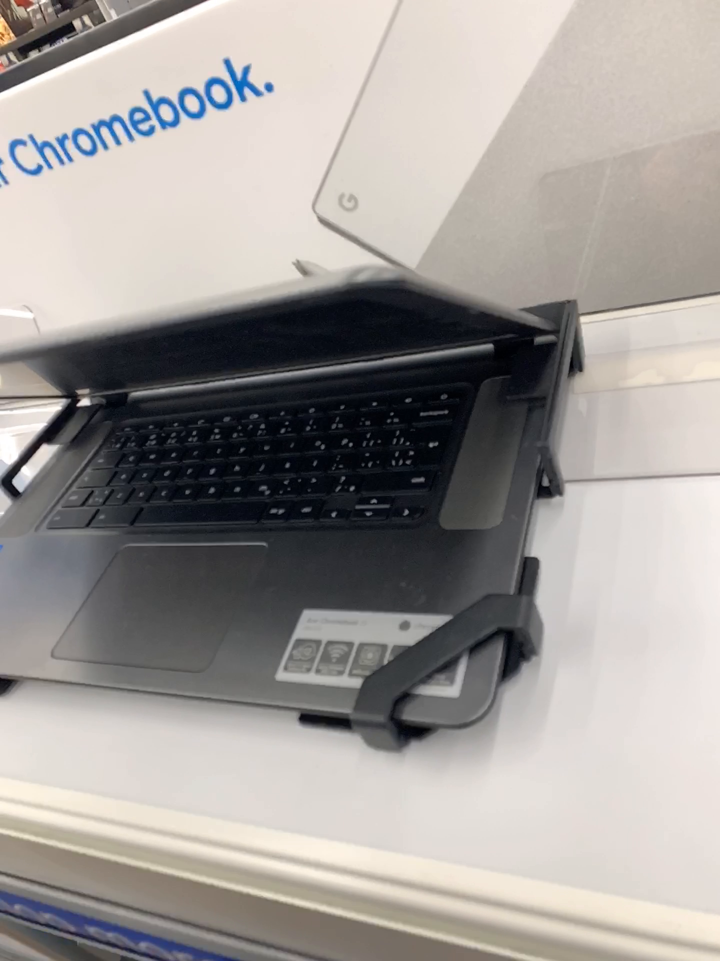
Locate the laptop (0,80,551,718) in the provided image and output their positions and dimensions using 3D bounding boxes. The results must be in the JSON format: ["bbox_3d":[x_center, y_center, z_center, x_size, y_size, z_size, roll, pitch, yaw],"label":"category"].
[{"bbox_3d":[-0.091,-0.033,0.319,0.301,0.116,0.194,-3,44,28],"label":"laptop"}]
